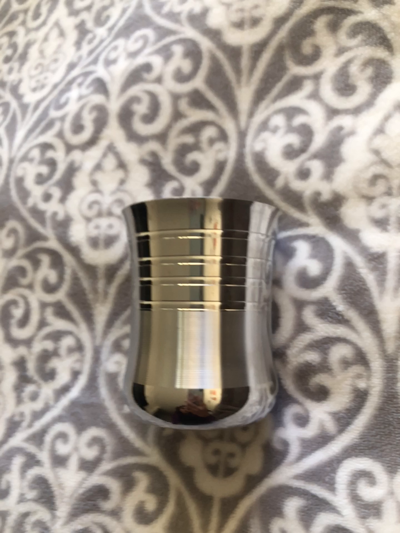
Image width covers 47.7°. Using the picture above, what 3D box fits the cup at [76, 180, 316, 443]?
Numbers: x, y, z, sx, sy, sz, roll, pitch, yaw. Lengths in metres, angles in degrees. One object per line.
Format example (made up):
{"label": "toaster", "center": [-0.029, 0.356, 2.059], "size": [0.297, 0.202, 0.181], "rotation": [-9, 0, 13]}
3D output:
{"label": "cup", "center": [0.004, 0.020, 0.195], "size": [0.077, 0.066, 0.086], "rotation": [-1, 79, 25]}
